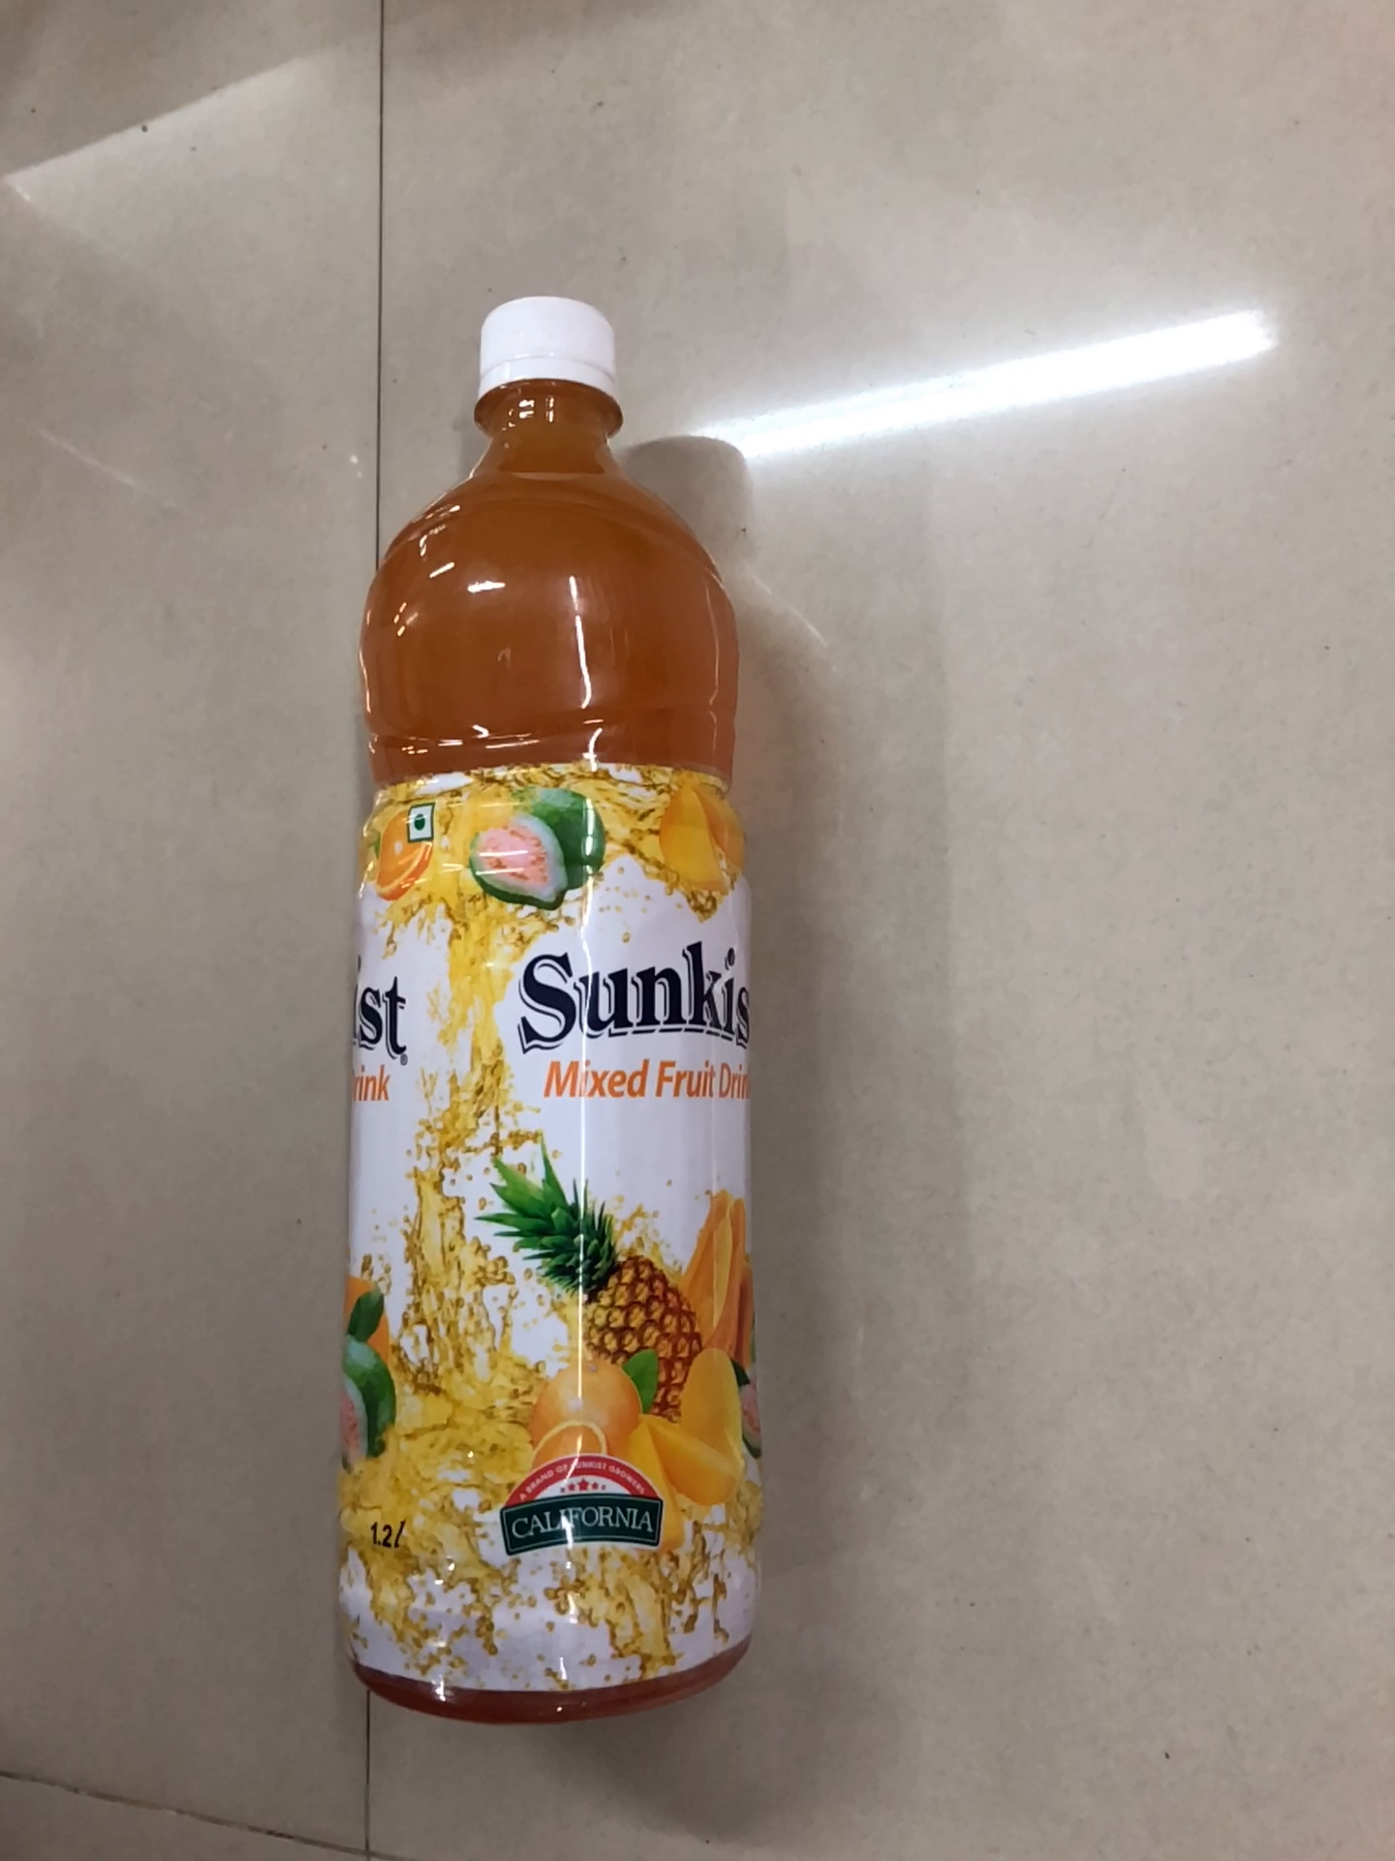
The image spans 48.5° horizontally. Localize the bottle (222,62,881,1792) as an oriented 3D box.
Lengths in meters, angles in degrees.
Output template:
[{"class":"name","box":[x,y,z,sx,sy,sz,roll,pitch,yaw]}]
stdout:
[{"class":"bottle","box":[-0.023,-0.004,0.314,0.100,0.080,0.290,-2,83,24]}]
